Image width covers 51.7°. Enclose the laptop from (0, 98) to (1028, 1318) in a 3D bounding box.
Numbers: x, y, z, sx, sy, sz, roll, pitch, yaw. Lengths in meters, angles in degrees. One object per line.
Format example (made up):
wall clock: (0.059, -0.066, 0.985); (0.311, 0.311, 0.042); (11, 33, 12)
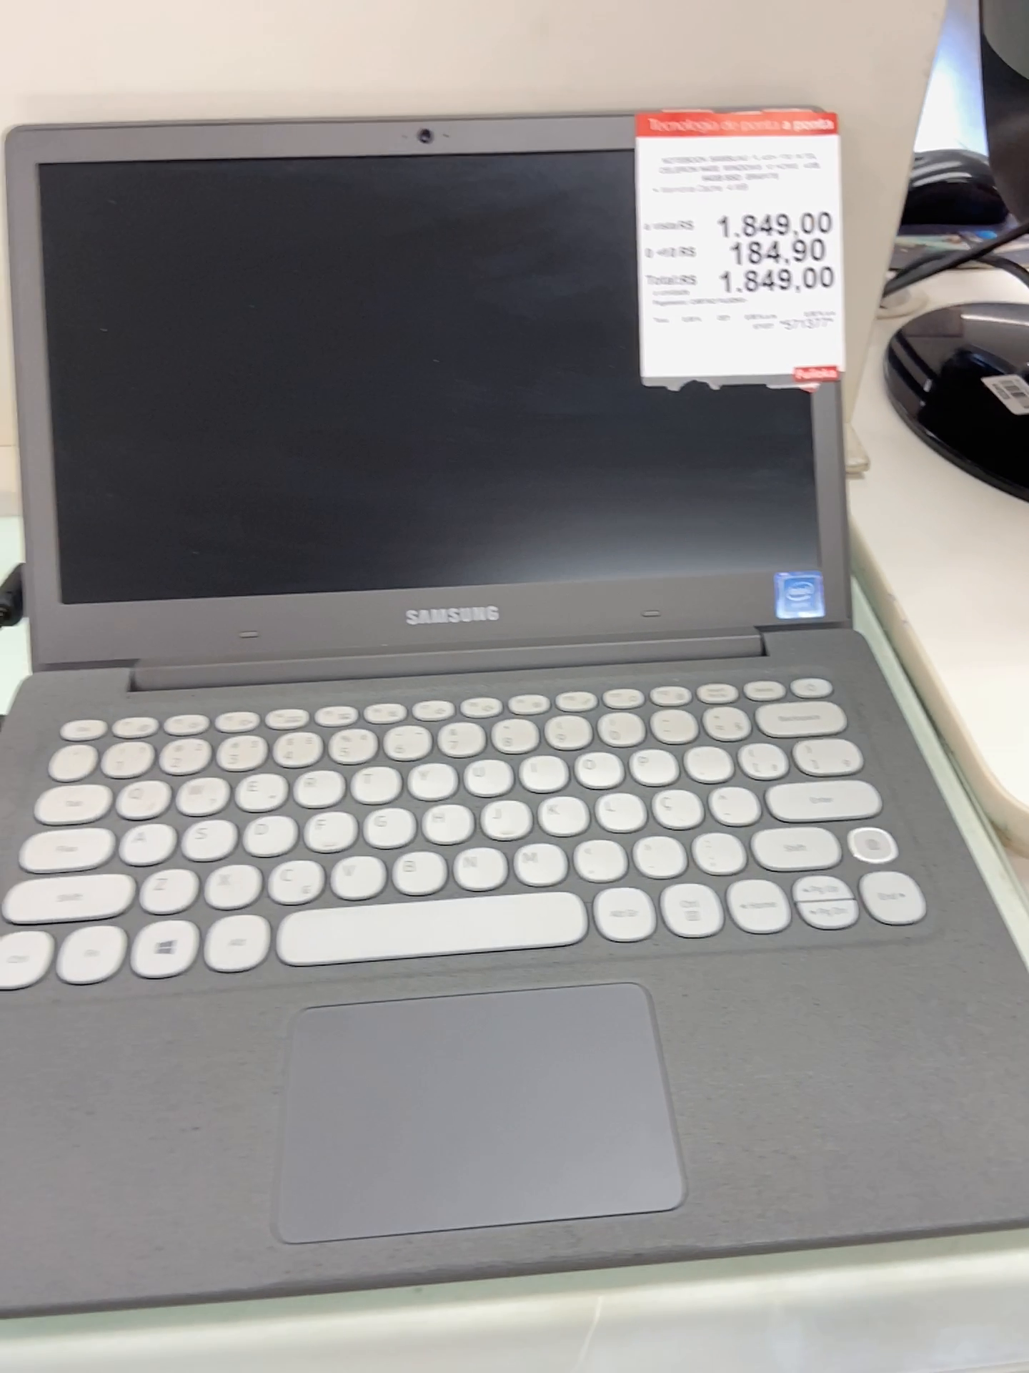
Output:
laptop: (-0.023, -0.045, 0.334); (0.319, 0.144, 0.366); (-3, 44, -3)
